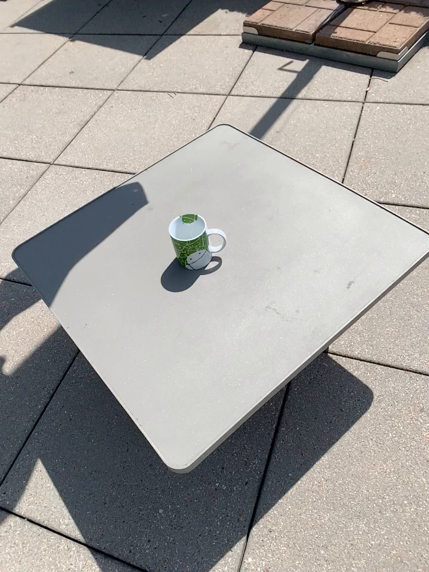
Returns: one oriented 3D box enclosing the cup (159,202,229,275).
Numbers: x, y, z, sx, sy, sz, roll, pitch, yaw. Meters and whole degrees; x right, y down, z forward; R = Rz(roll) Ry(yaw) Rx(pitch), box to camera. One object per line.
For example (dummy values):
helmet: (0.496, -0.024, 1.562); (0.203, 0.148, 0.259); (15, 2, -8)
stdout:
cup: (-0.043, -0.097, 0.911); (0.120, 0.090, 0.090); (-12, 51, 1)
